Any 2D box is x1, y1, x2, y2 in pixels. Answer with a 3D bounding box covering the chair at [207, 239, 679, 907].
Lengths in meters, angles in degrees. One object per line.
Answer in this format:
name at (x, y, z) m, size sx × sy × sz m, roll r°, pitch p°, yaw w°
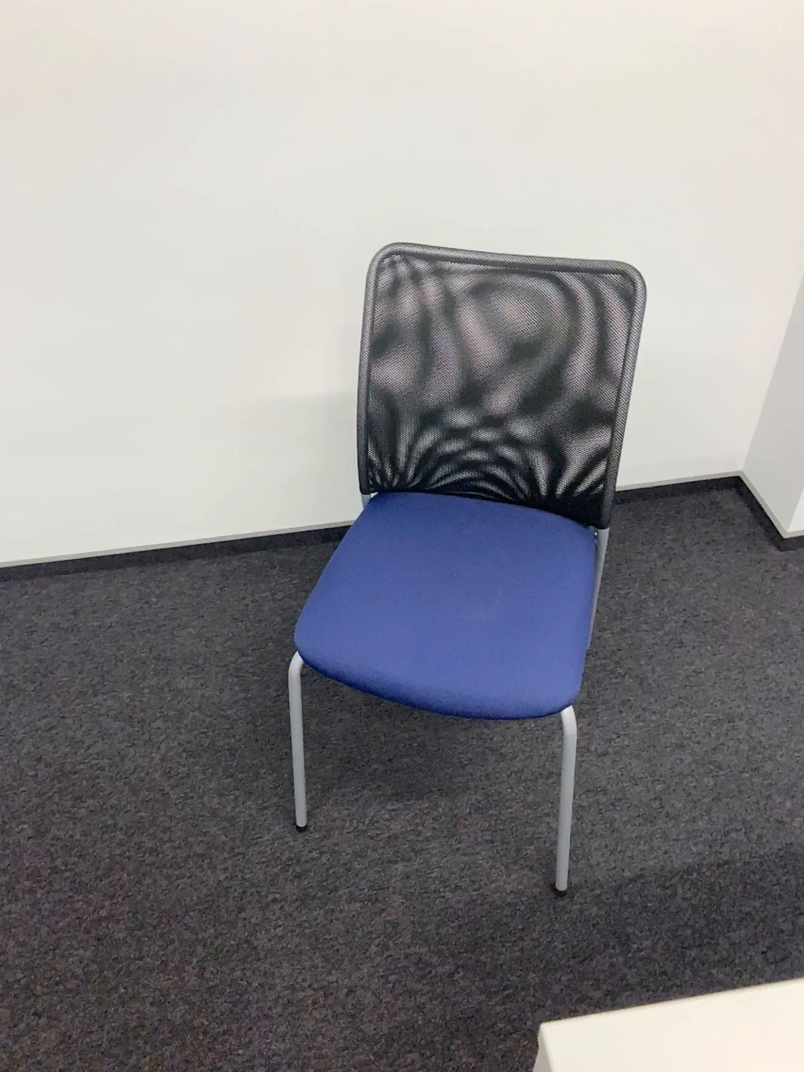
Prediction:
chair at (0.109, 0.068, 1.362) m, size 0.490 × 0.865 × 0.593 m, roll 10°, pitch 43°, yaw 13°
